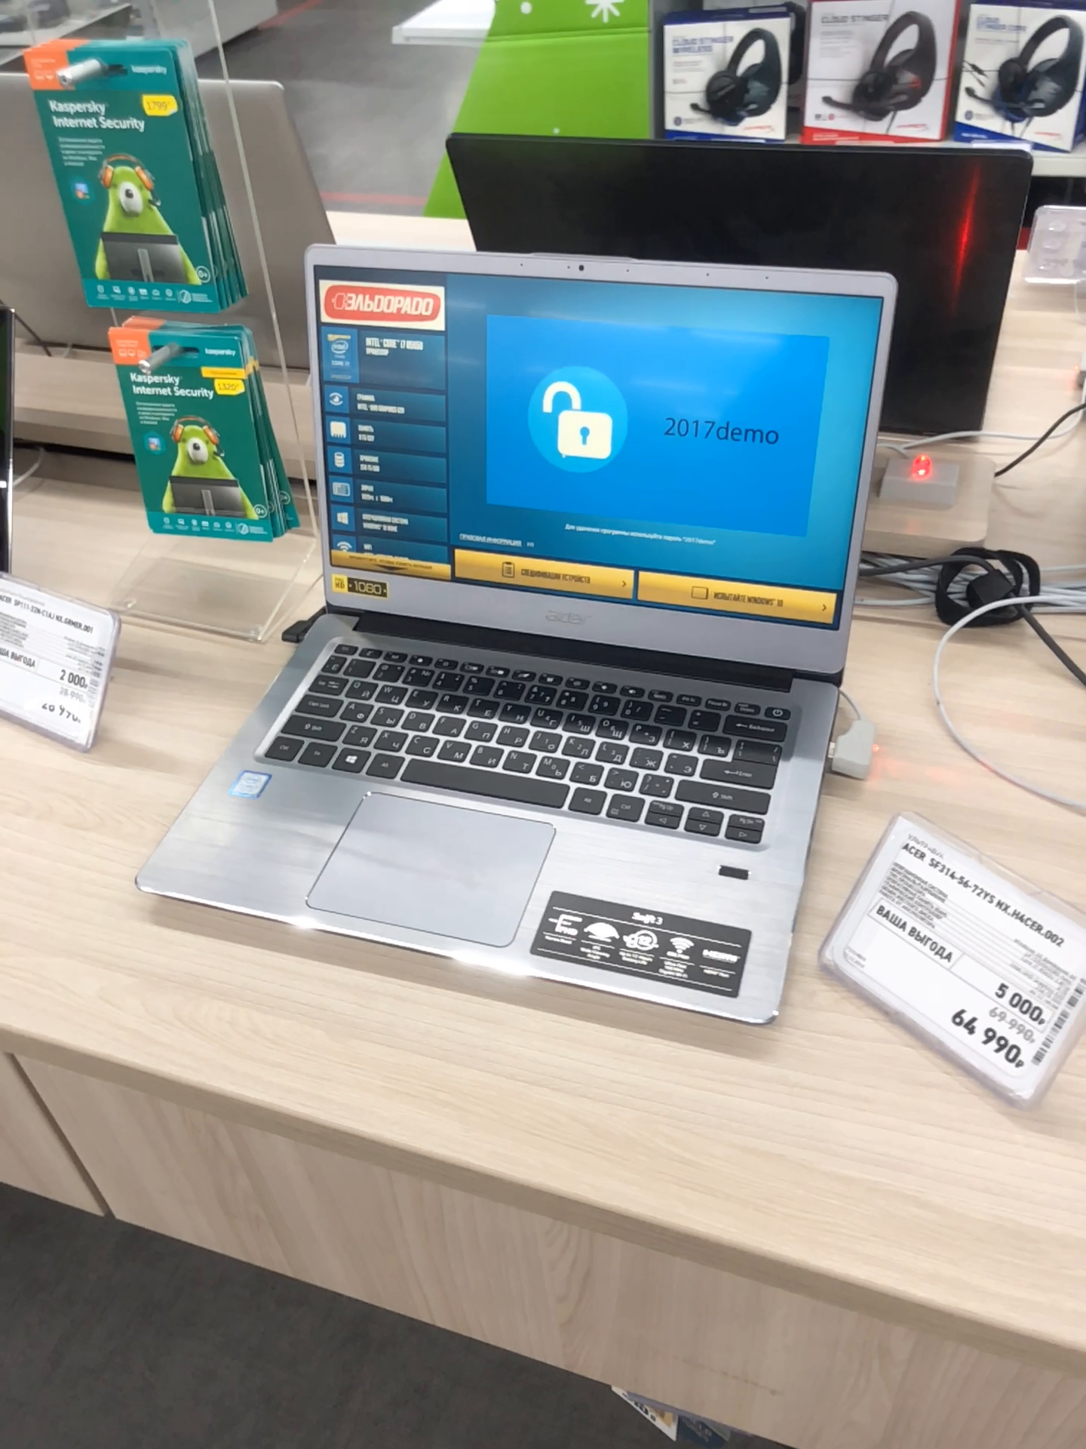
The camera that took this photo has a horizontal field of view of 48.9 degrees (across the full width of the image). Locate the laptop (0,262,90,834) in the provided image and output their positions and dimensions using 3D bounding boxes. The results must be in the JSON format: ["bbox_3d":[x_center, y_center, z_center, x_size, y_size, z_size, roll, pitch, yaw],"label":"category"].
[{"bbox_3d":[-0.516,-0.130,0.738,0.279,0.159,0.312,11,47,17],"label":"laptop"}]

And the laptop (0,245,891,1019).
[{"bbox_3d":[-0.016,-0.071,0.599,0.315,0.197,0.303,9,45,16],"label":"laptop"}]
